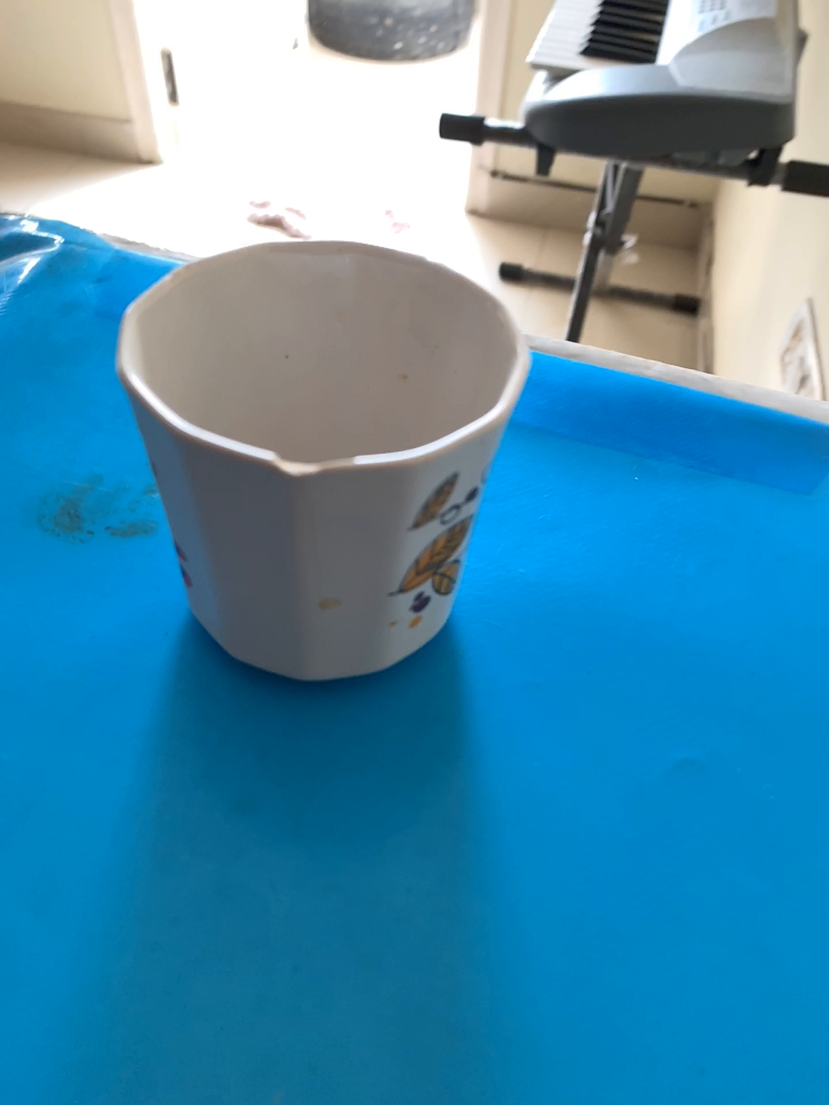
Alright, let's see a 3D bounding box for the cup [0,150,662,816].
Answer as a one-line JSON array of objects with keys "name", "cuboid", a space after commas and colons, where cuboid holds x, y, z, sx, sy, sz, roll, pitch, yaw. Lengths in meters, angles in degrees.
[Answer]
[{"name": "cup", "cuboid": [-0.009, -0.020, 0.166, 0.070, 0.060, 0.101, 23, 51, 16]}]
